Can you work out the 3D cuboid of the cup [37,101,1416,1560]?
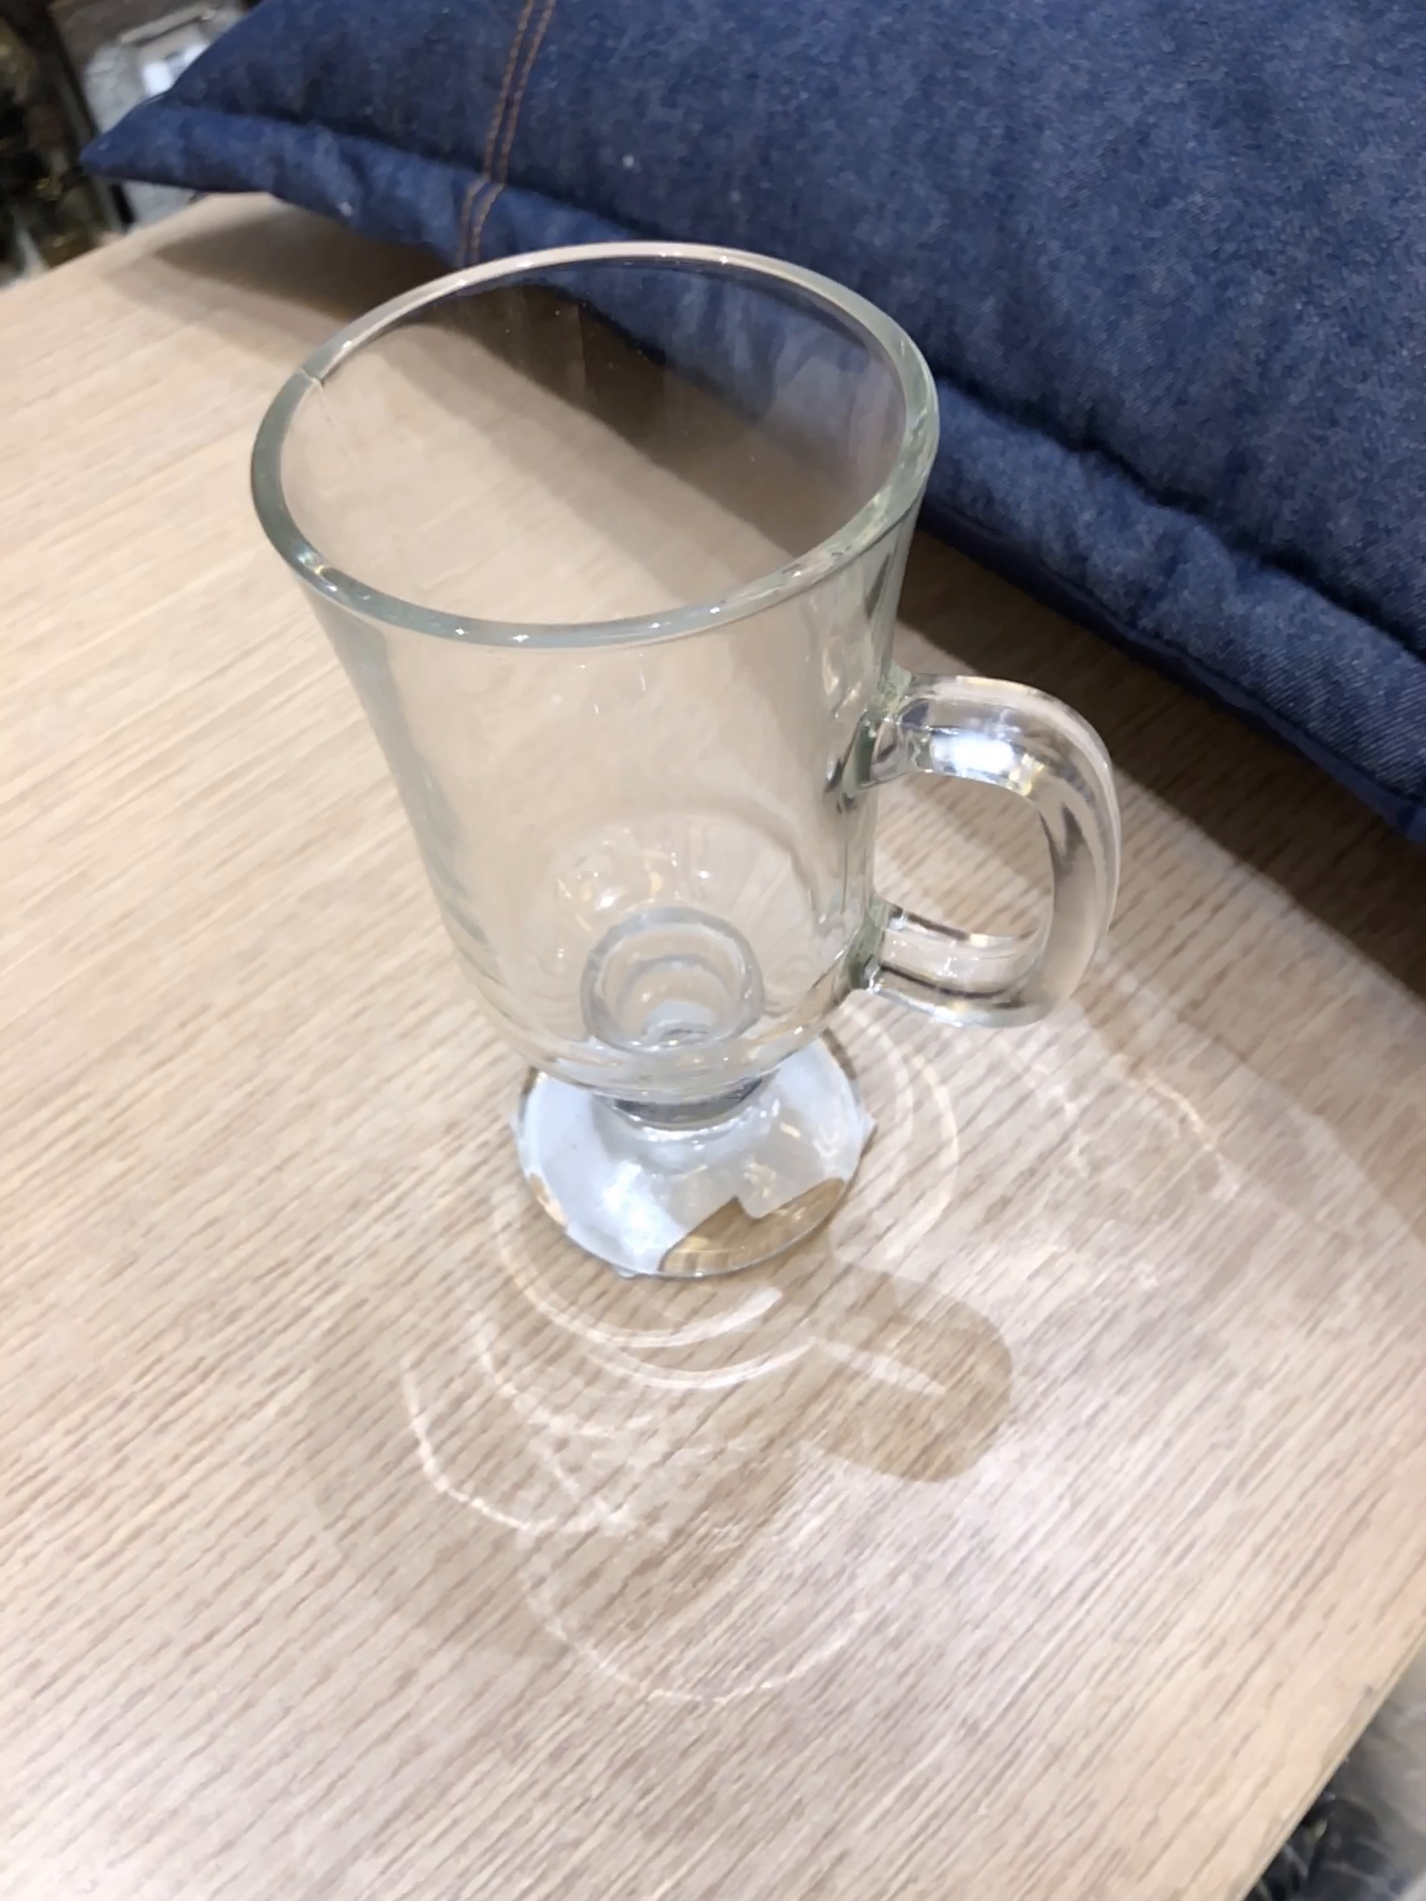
[{"bbox_3d":[0.004,-0.010,0.223,0.110,0.149,0.090,32,60,26],"label":"cup"}]

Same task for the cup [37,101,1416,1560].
[{"bbox_3d":[0.004,-0.010,0.223,0.110,0.149,0.090,32,60,26],"label":"cup"}]
